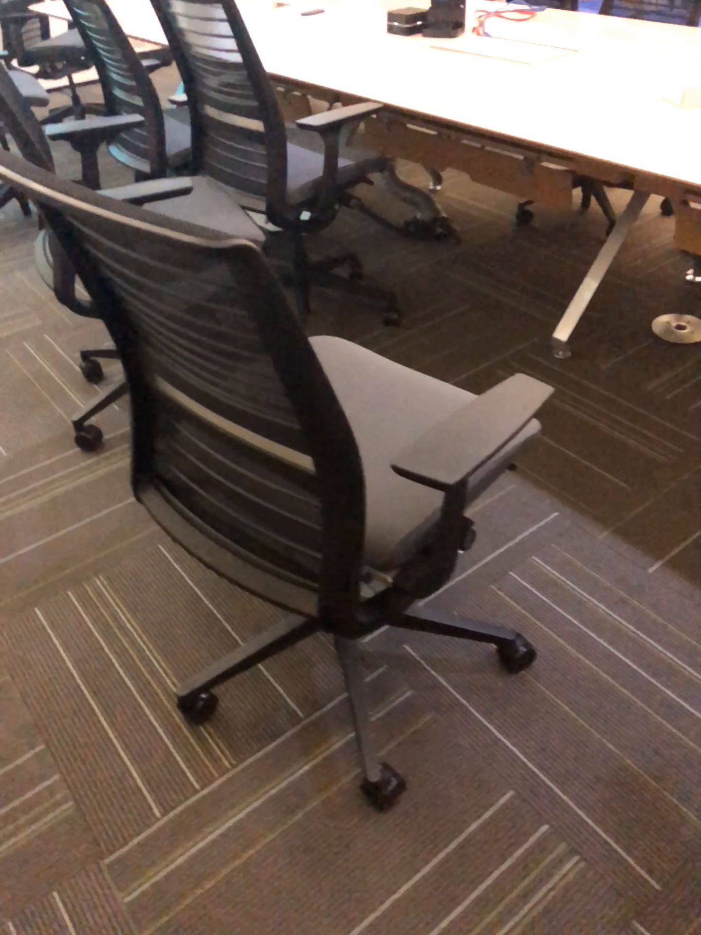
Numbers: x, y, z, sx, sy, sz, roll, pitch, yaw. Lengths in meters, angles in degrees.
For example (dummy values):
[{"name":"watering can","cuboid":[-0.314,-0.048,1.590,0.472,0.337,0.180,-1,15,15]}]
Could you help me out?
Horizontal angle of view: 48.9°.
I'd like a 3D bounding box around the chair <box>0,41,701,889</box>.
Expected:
[{"name":"chair","cuboid":[-0.046,-0.074,1.151,0.722,0.856,0.662,25,46,32]}]
